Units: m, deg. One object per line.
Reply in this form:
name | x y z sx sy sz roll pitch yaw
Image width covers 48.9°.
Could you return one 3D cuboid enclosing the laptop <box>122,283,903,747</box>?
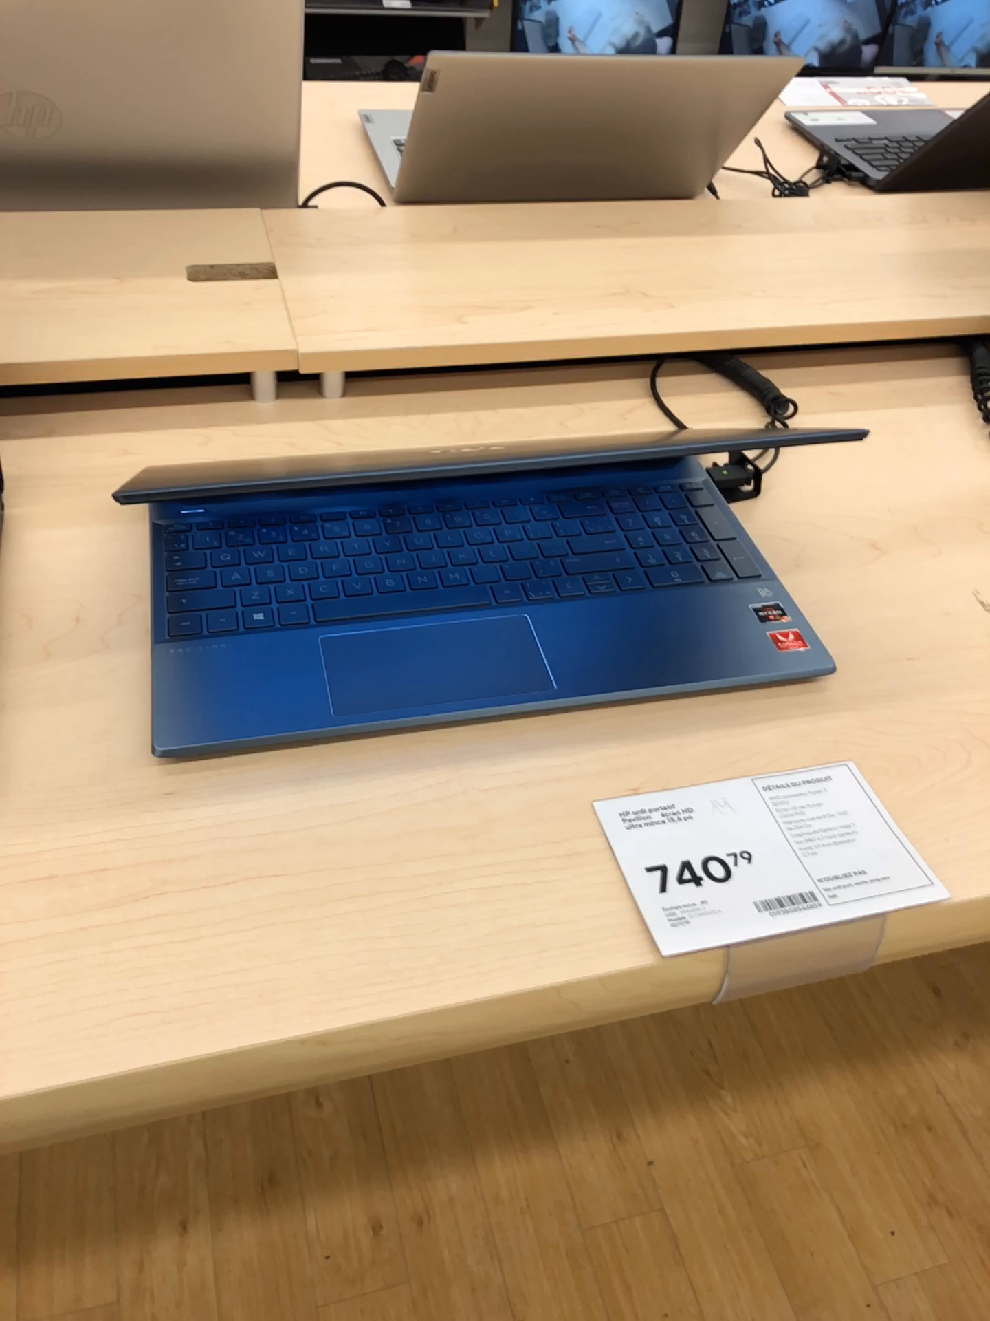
laptop | -0.007 -0.093 0.582 0.349 0.119 0.210 -6 44 -13
